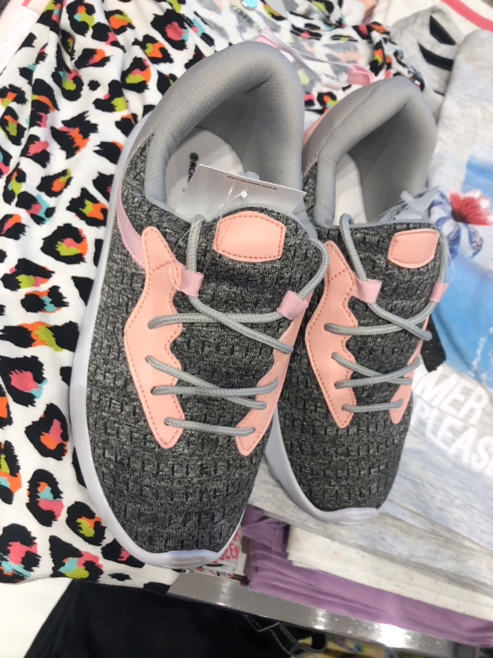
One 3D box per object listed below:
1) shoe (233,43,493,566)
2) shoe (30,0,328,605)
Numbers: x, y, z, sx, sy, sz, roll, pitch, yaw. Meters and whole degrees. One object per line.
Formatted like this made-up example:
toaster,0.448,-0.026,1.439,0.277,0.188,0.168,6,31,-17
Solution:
shoe,0.058,-0.008,0.282,0.100,0.100,0.210,3,80,-22
shoe,-0.033,-0.012,0.251,0.100,0.100,0.220,6,79,-21
